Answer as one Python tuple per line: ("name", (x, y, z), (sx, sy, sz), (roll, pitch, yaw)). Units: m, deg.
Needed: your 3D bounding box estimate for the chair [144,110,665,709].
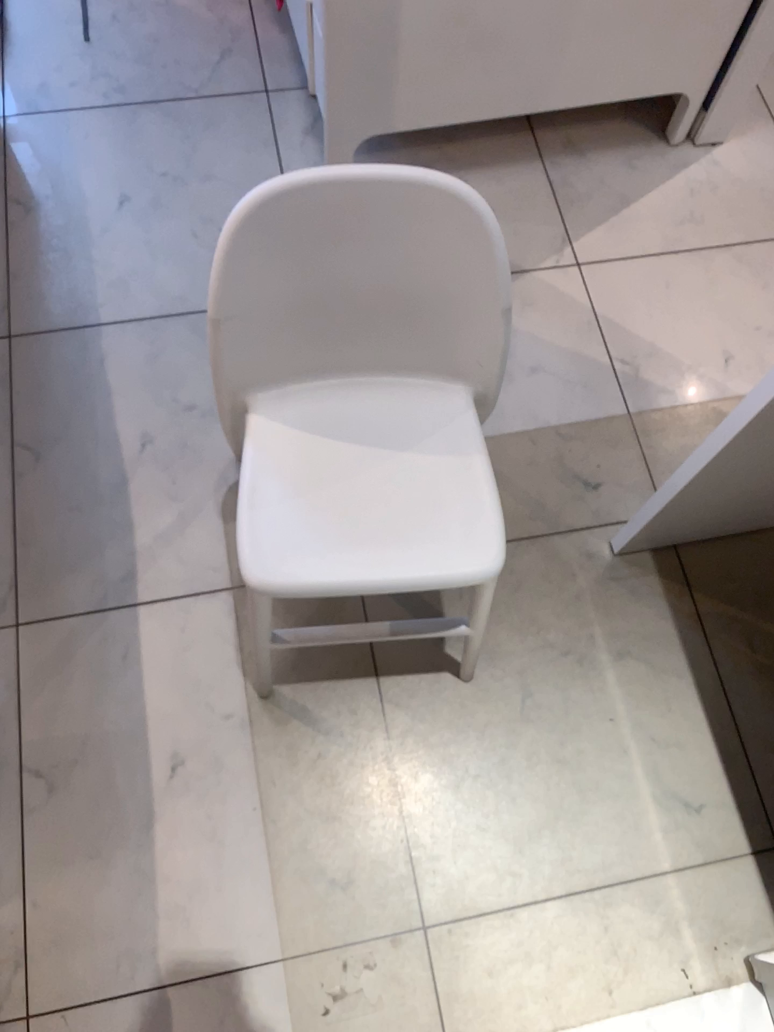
("chair", (-0.018, -0.063, 1.070), (0.430, 0.699, 0.500), (-3, 68, -4))
